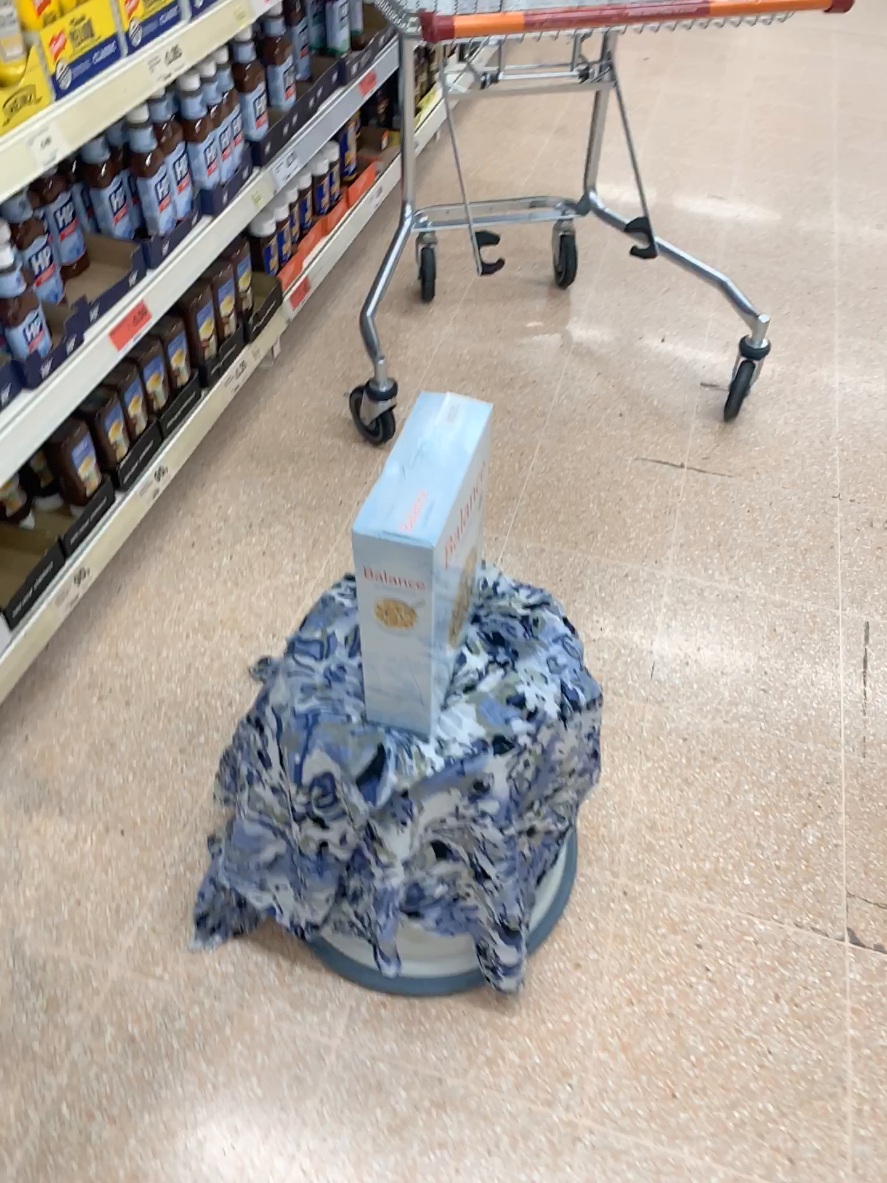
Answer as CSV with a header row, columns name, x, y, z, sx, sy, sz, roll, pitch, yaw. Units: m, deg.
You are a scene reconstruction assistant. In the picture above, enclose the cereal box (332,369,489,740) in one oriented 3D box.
name,x,y,z,sx,sy,sz,roll,pitch,yaw
cereal box,-0.025,-0.030,0.860,0.070,0.277,0.212,13,49,10
